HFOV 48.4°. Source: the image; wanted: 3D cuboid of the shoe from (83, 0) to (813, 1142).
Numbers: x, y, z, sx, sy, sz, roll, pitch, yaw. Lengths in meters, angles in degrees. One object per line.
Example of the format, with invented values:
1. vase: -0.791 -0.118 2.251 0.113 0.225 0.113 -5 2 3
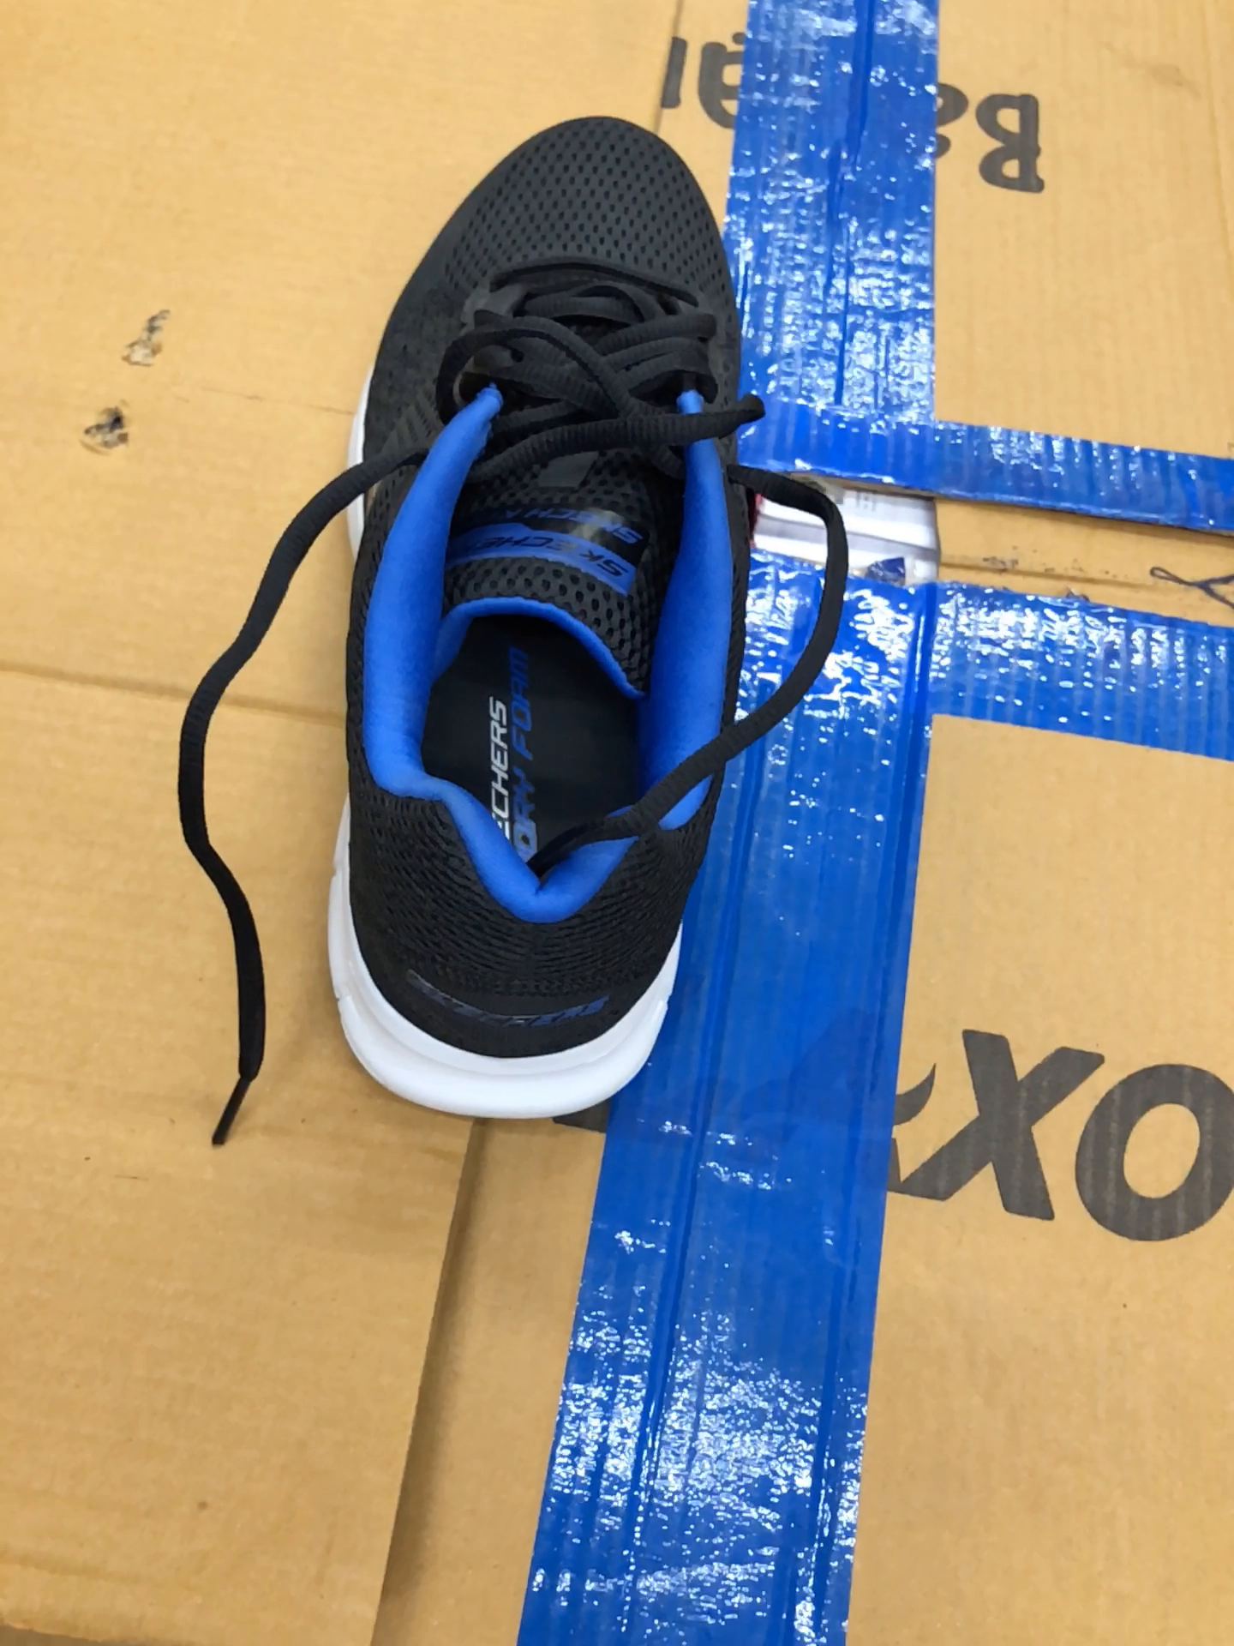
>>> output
1. shoe: -0.023 -0.078 0.329 0.114 0.106 0.279 6 67 -3
